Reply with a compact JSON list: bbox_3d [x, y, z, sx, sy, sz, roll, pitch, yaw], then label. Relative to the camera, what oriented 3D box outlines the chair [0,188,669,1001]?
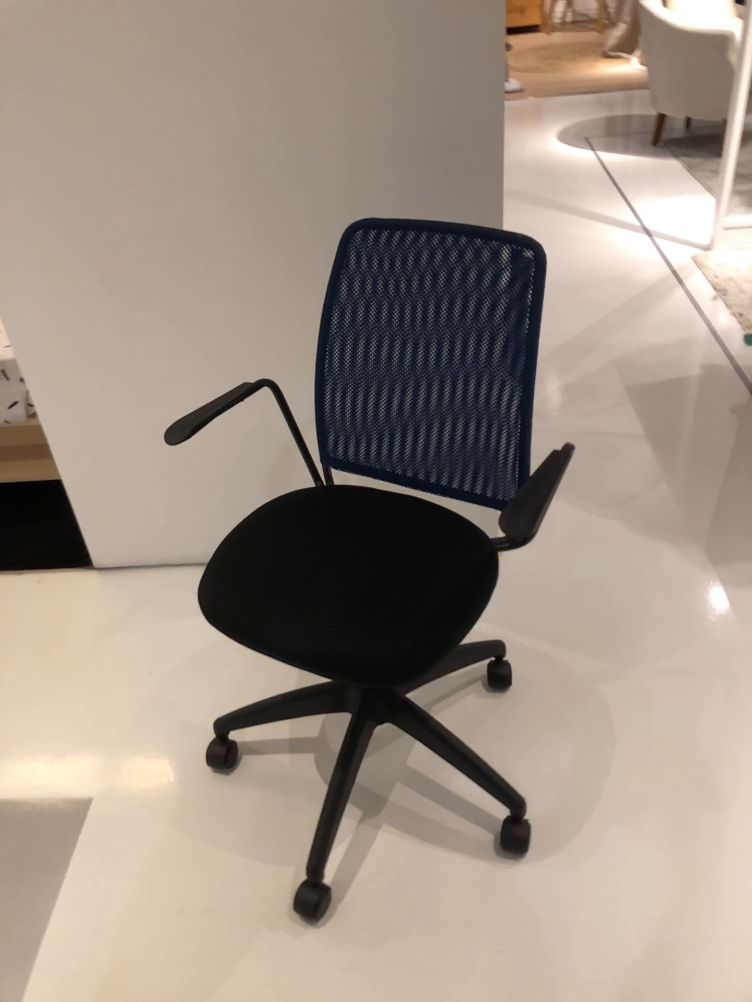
[{"bbox_3d":[-0.031,0.110,1.291,0.661,0.923,0.704,16,42,27],"label":"chair"}]
